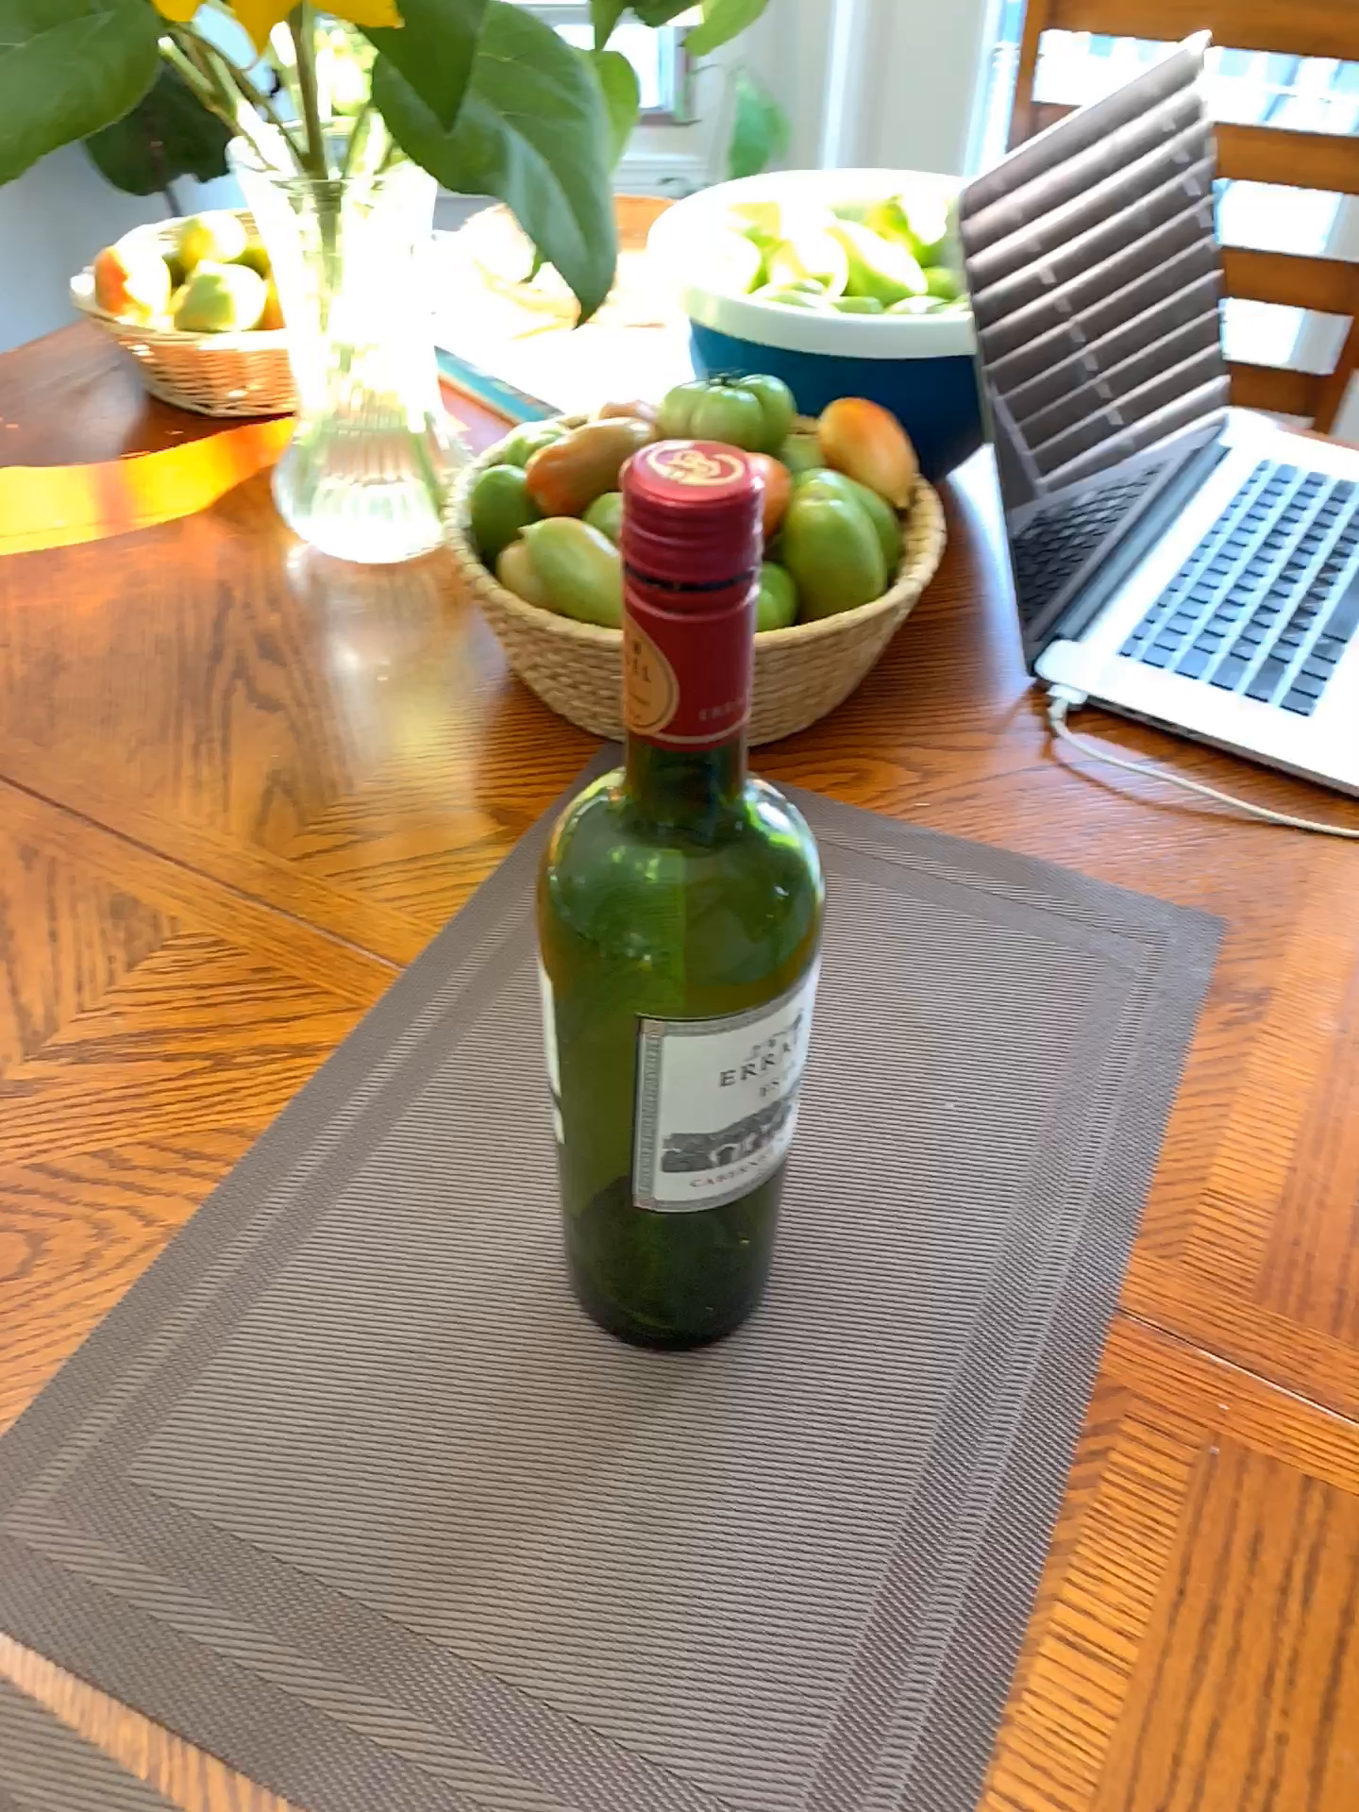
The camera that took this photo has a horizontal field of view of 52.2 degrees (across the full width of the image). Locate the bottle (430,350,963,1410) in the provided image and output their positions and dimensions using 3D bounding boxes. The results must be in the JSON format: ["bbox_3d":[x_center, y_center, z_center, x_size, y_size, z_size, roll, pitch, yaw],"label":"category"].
[{"bbox_3d":[0.002,0.016,0.404,0.080,0.307,0.091,24,47,21],"label":"bottle"}]
